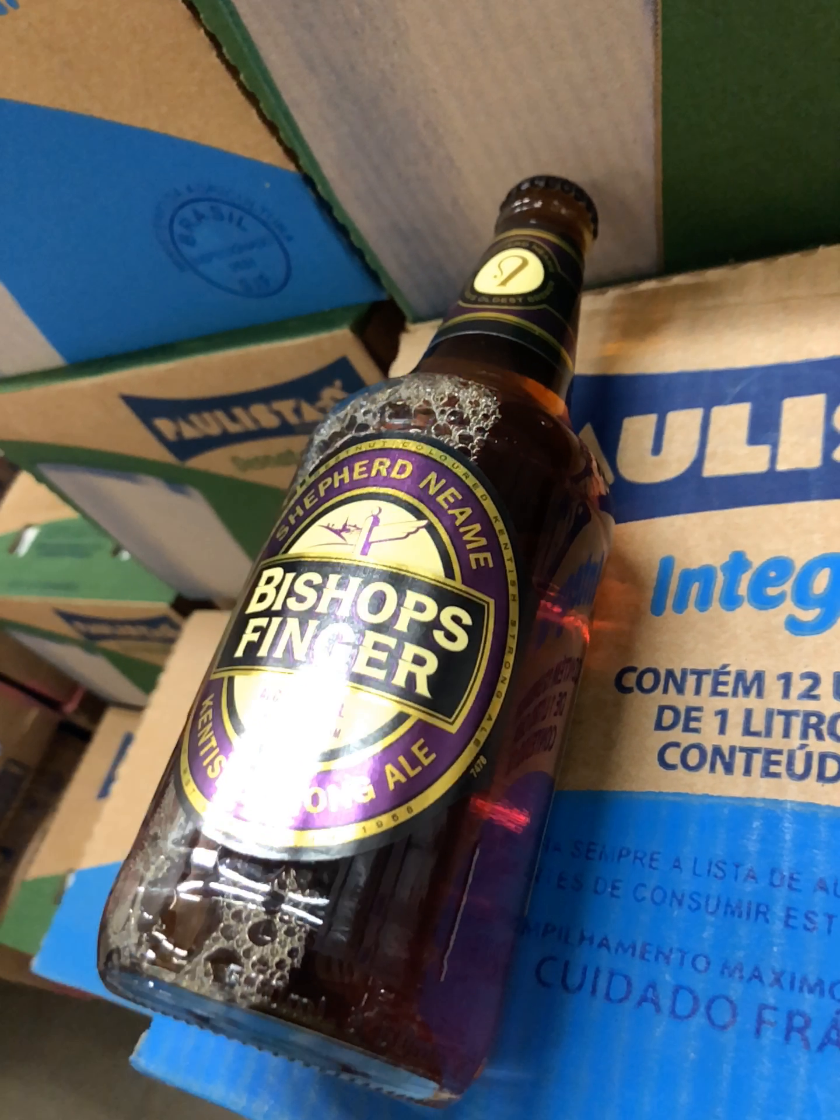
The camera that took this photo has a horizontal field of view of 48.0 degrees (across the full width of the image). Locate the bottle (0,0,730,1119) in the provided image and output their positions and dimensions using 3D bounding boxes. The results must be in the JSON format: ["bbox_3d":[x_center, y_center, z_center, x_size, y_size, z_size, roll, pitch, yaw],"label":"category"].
[{"bbox_3d":[0.002,-0.020,0.213,0.080,0.070,0.251,0,56,34],"label":"bottle"}]
